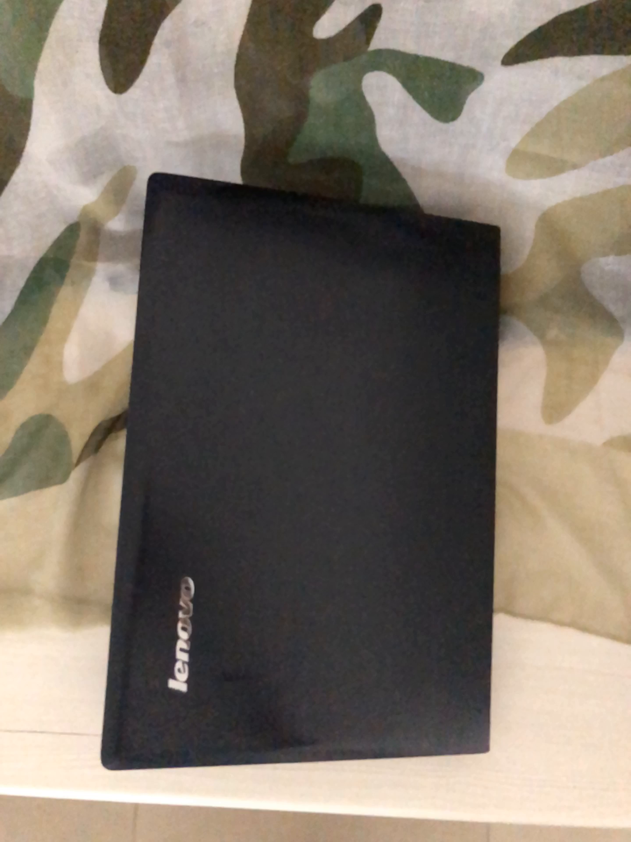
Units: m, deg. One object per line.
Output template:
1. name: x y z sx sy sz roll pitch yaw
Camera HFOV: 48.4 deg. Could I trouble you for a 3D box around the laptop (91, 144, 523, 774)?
1. laptop: 0.004 0.022 0.477 0.249 0.060 0.385 4 83 -4
